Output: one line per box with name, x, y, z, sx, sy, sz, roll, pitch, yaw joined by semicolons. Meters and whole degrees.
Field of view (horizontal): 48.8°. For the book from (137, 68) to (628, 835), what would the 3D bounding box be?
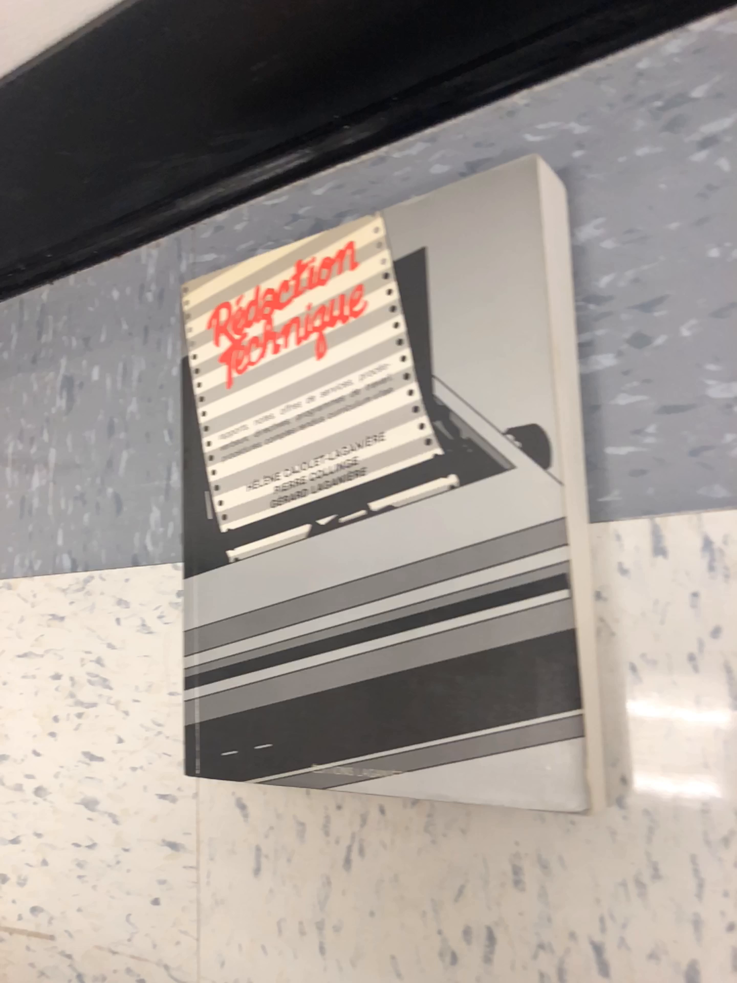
book;-0.009;-0.007;0.291;0.170;0.040;0.220;-9;79;33
